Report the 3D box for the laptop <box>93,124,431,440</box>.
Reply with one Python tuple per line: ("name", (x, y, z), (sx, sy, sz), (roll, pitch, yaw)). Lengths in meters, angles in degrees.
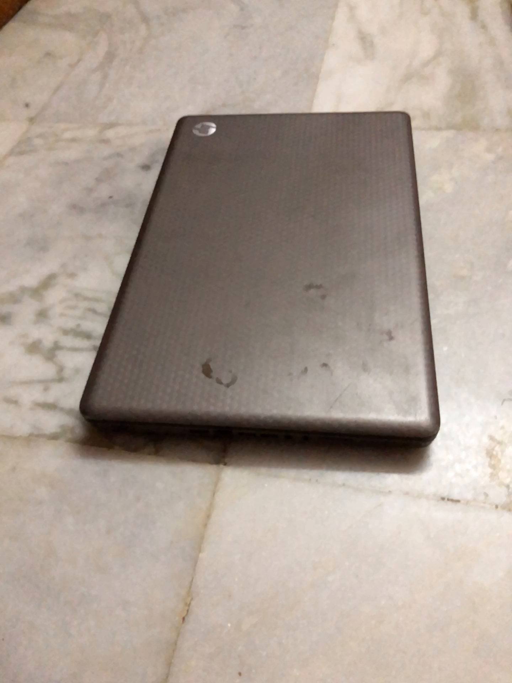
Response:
("laptop", (0.021, -0.088, 0.524), (0.248, 0.002, 0.379), (2, 54, 9))
